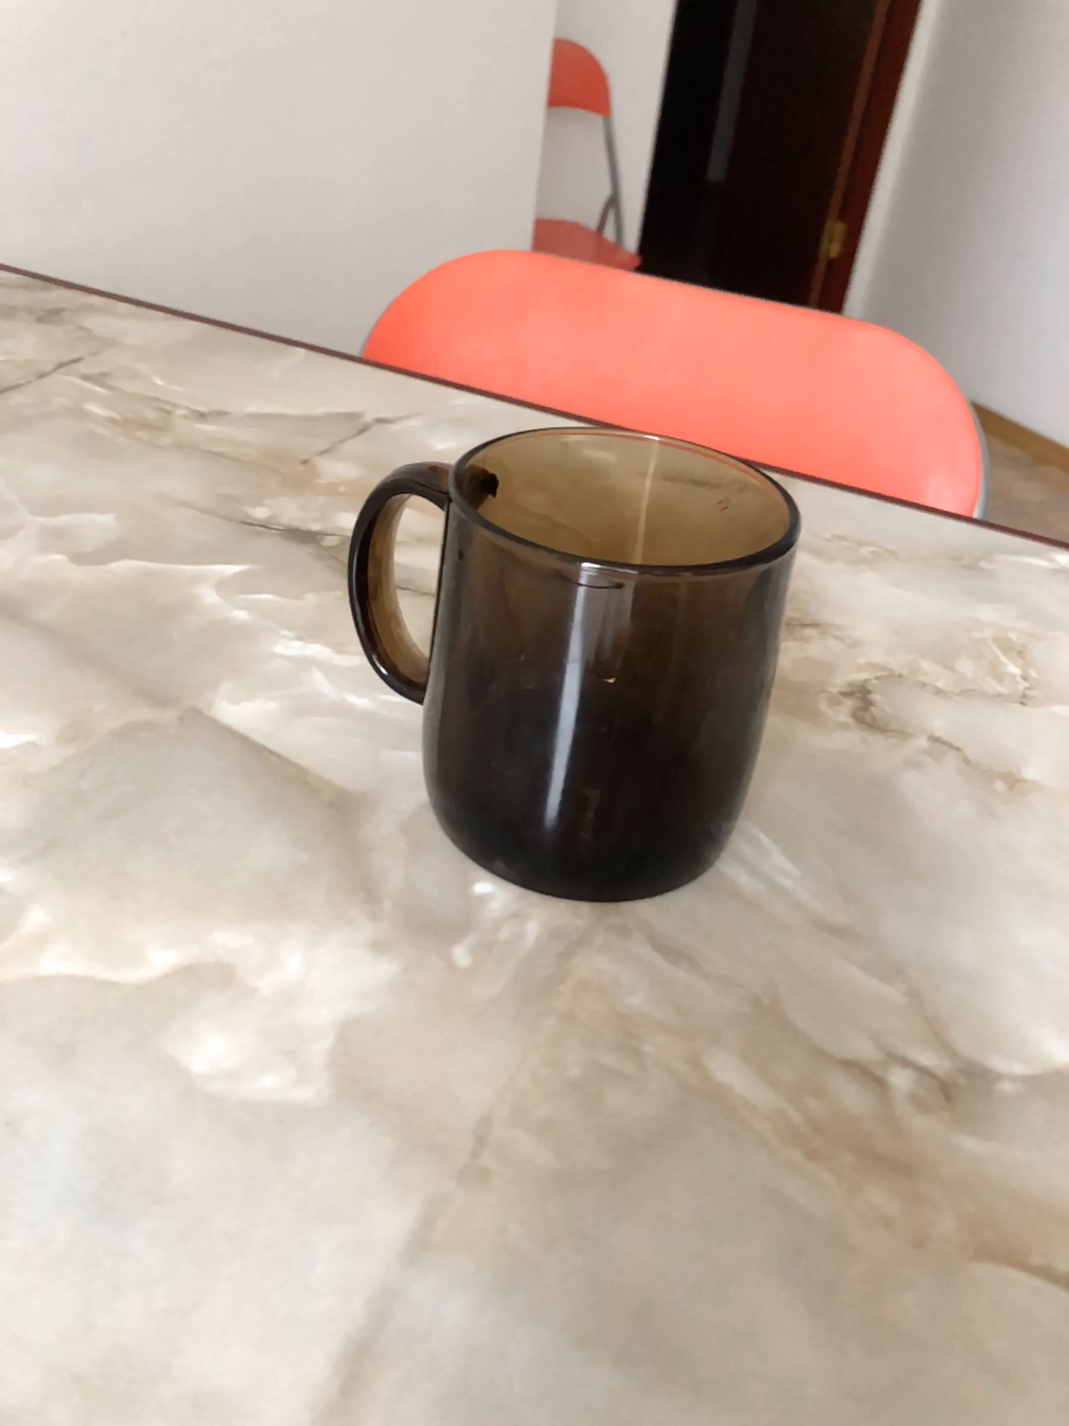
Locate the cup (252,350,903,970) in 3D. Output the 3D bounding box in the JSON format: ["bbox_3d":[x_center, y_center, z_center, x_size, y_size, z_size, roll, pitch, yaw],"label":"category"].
[{"bbox_3d":[0.006,-0.023,0.297,0.123,0.090,0.091,26,37,26],"label":"cup"}]
